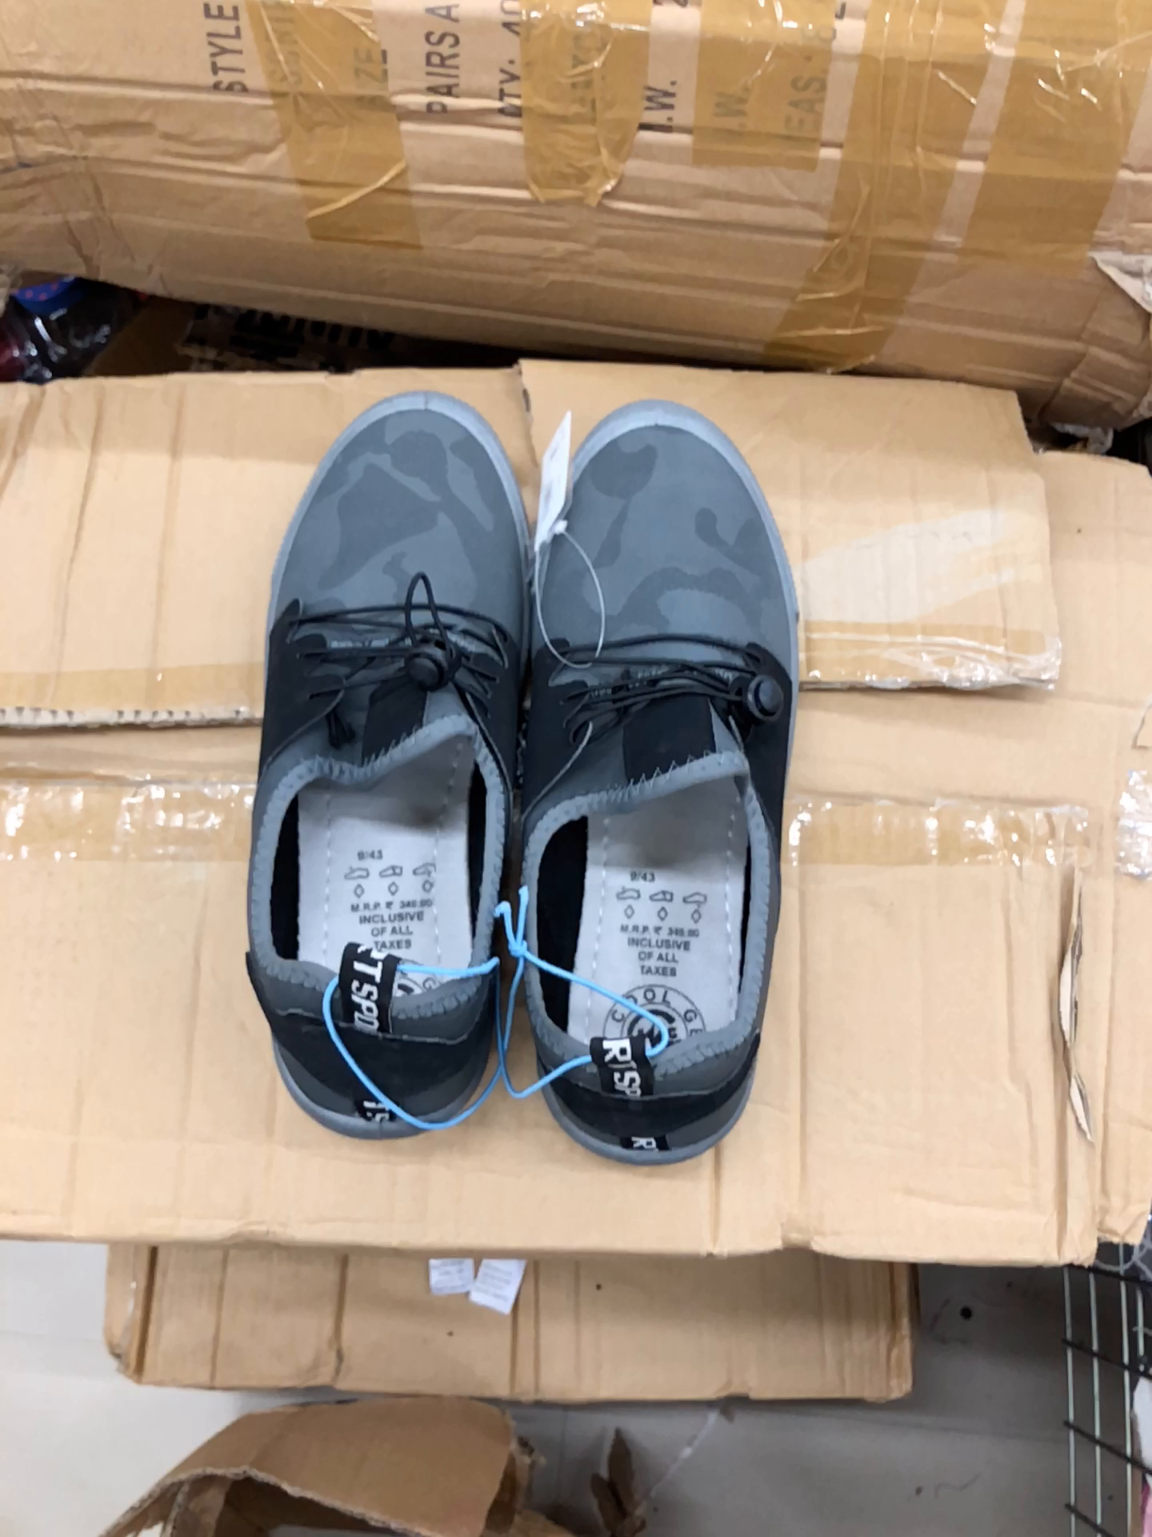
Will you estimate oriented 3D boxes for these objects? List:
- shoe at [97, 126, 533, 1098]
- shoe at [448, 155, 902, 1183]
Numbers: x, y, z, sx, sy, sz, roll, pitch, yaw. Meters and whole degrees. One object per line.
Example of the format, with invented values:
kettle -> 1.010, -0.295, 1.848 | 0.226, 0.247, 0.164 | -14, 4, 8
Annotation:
shoe -> -0.074, -0.045, 0.447 | 0.110, 0.150, 0.301 | -1, 73, -1
shoe -> 0.028, -0.026, 0.416 | 0.110, 0.130, 0.301 | 2, 73, 0
